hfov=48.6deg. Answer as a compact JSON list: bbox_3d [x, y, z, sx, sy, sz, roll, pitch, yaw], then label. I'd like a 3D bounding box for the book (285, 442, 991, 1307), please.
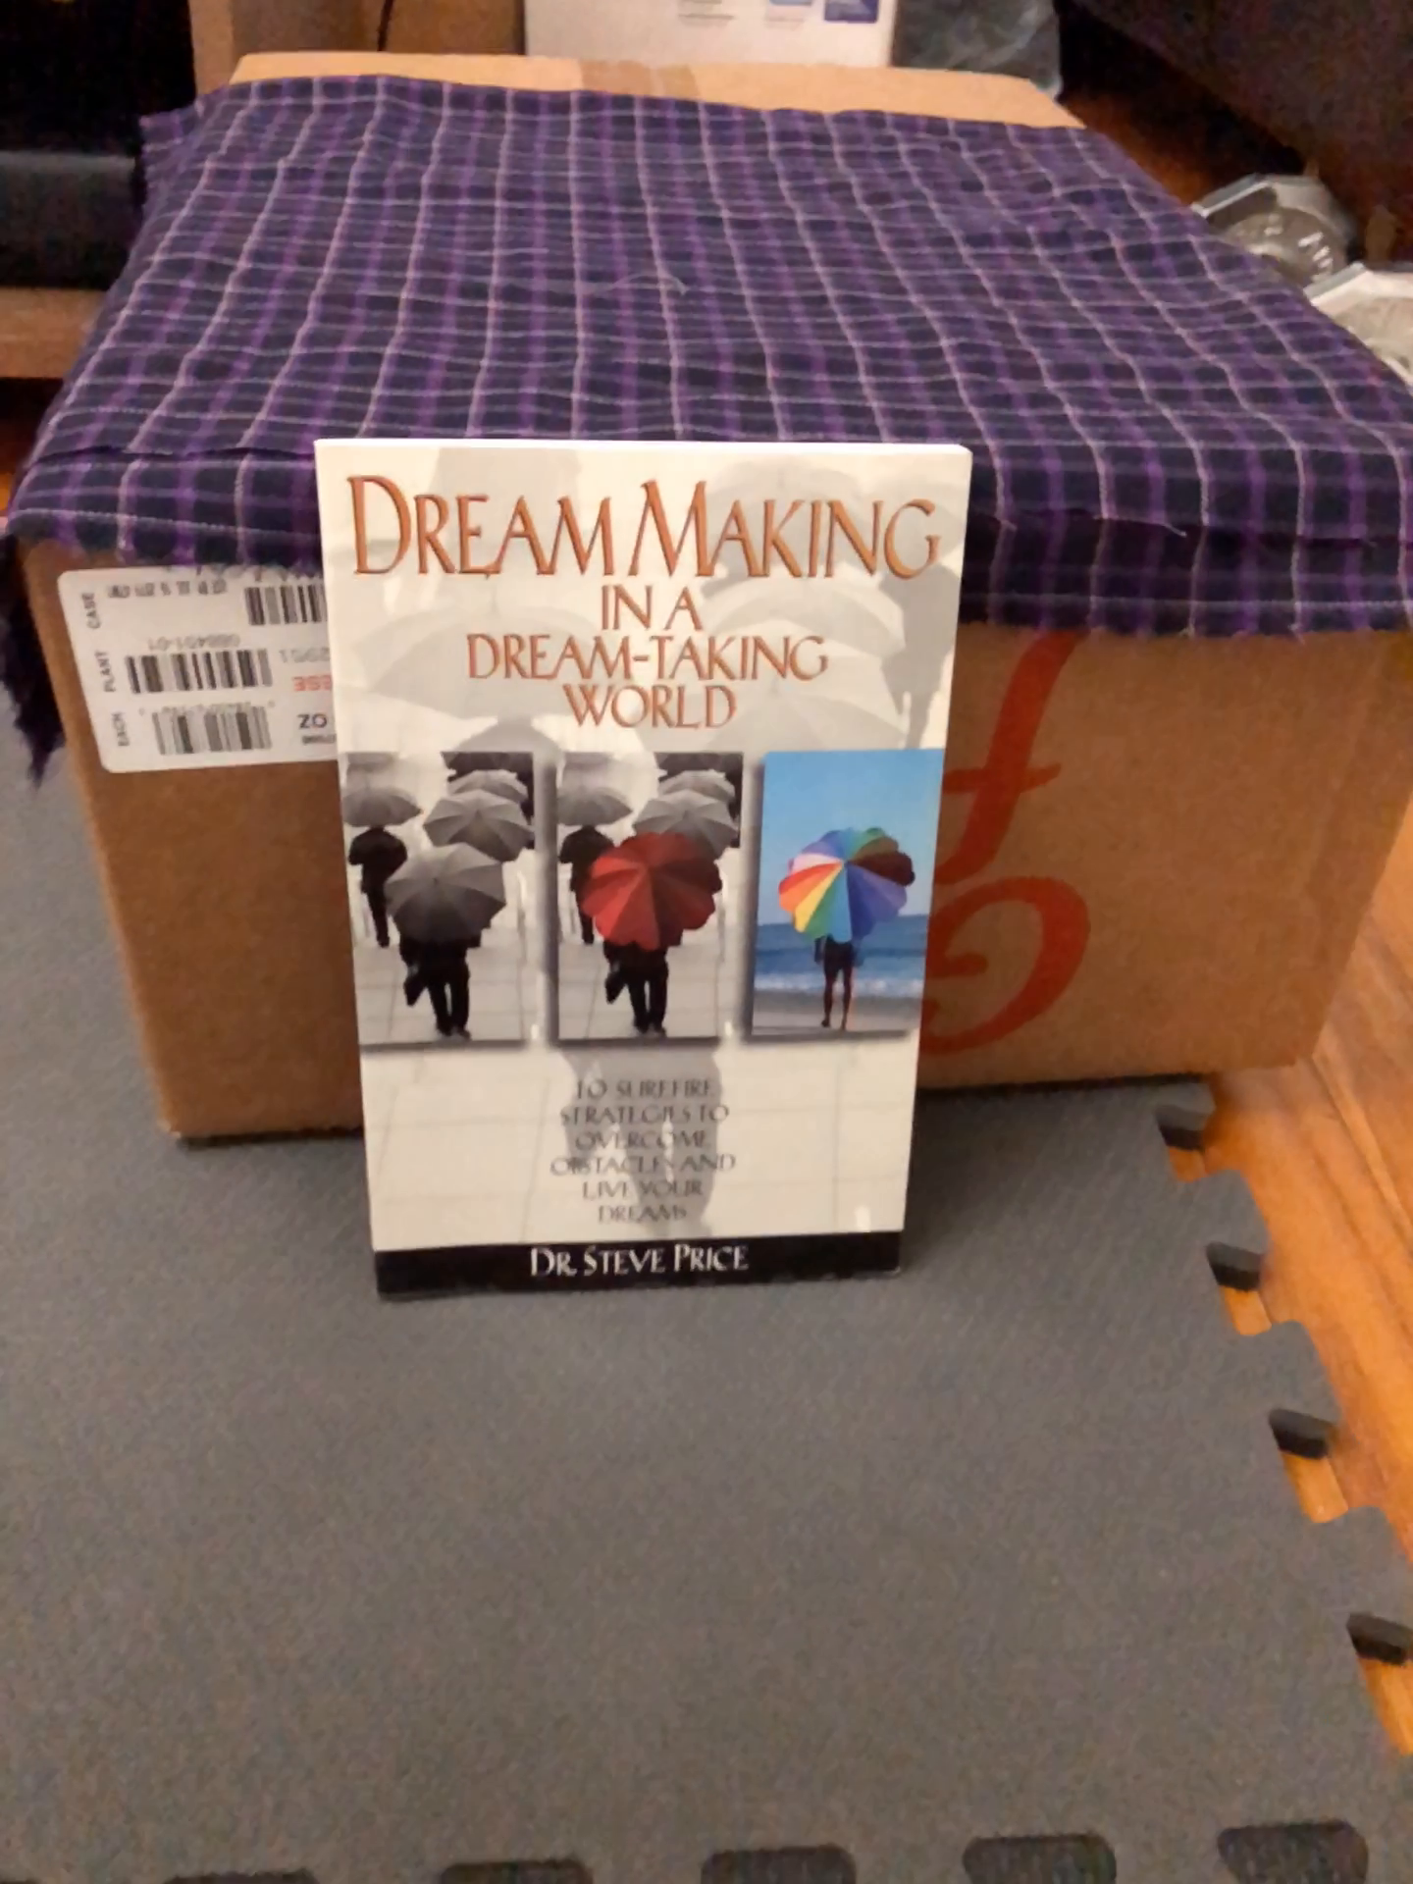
[{"bbox_3d":[-0.015,-0.008,0.387,0.150,0.219,0.020,-1,24,-4],"label":"book"}]
